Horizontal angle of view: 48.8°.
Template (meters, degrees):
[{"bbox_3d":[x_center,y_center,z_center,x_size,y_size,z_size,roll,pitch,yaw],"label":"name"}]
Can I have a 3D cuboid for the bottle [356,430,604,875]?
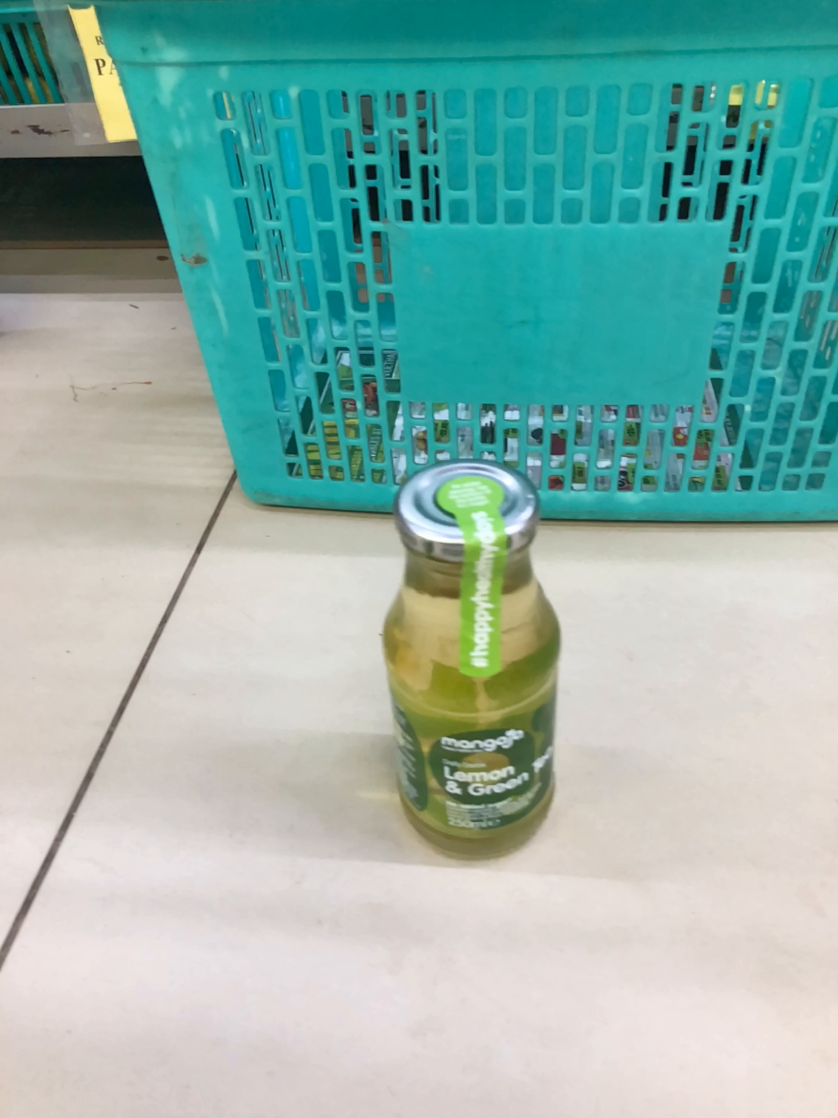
[{"bbox_3d":[0.021,0.038,0.334,0.070,0.149,0.070,-3,38,2],"label":"bottle"}]
